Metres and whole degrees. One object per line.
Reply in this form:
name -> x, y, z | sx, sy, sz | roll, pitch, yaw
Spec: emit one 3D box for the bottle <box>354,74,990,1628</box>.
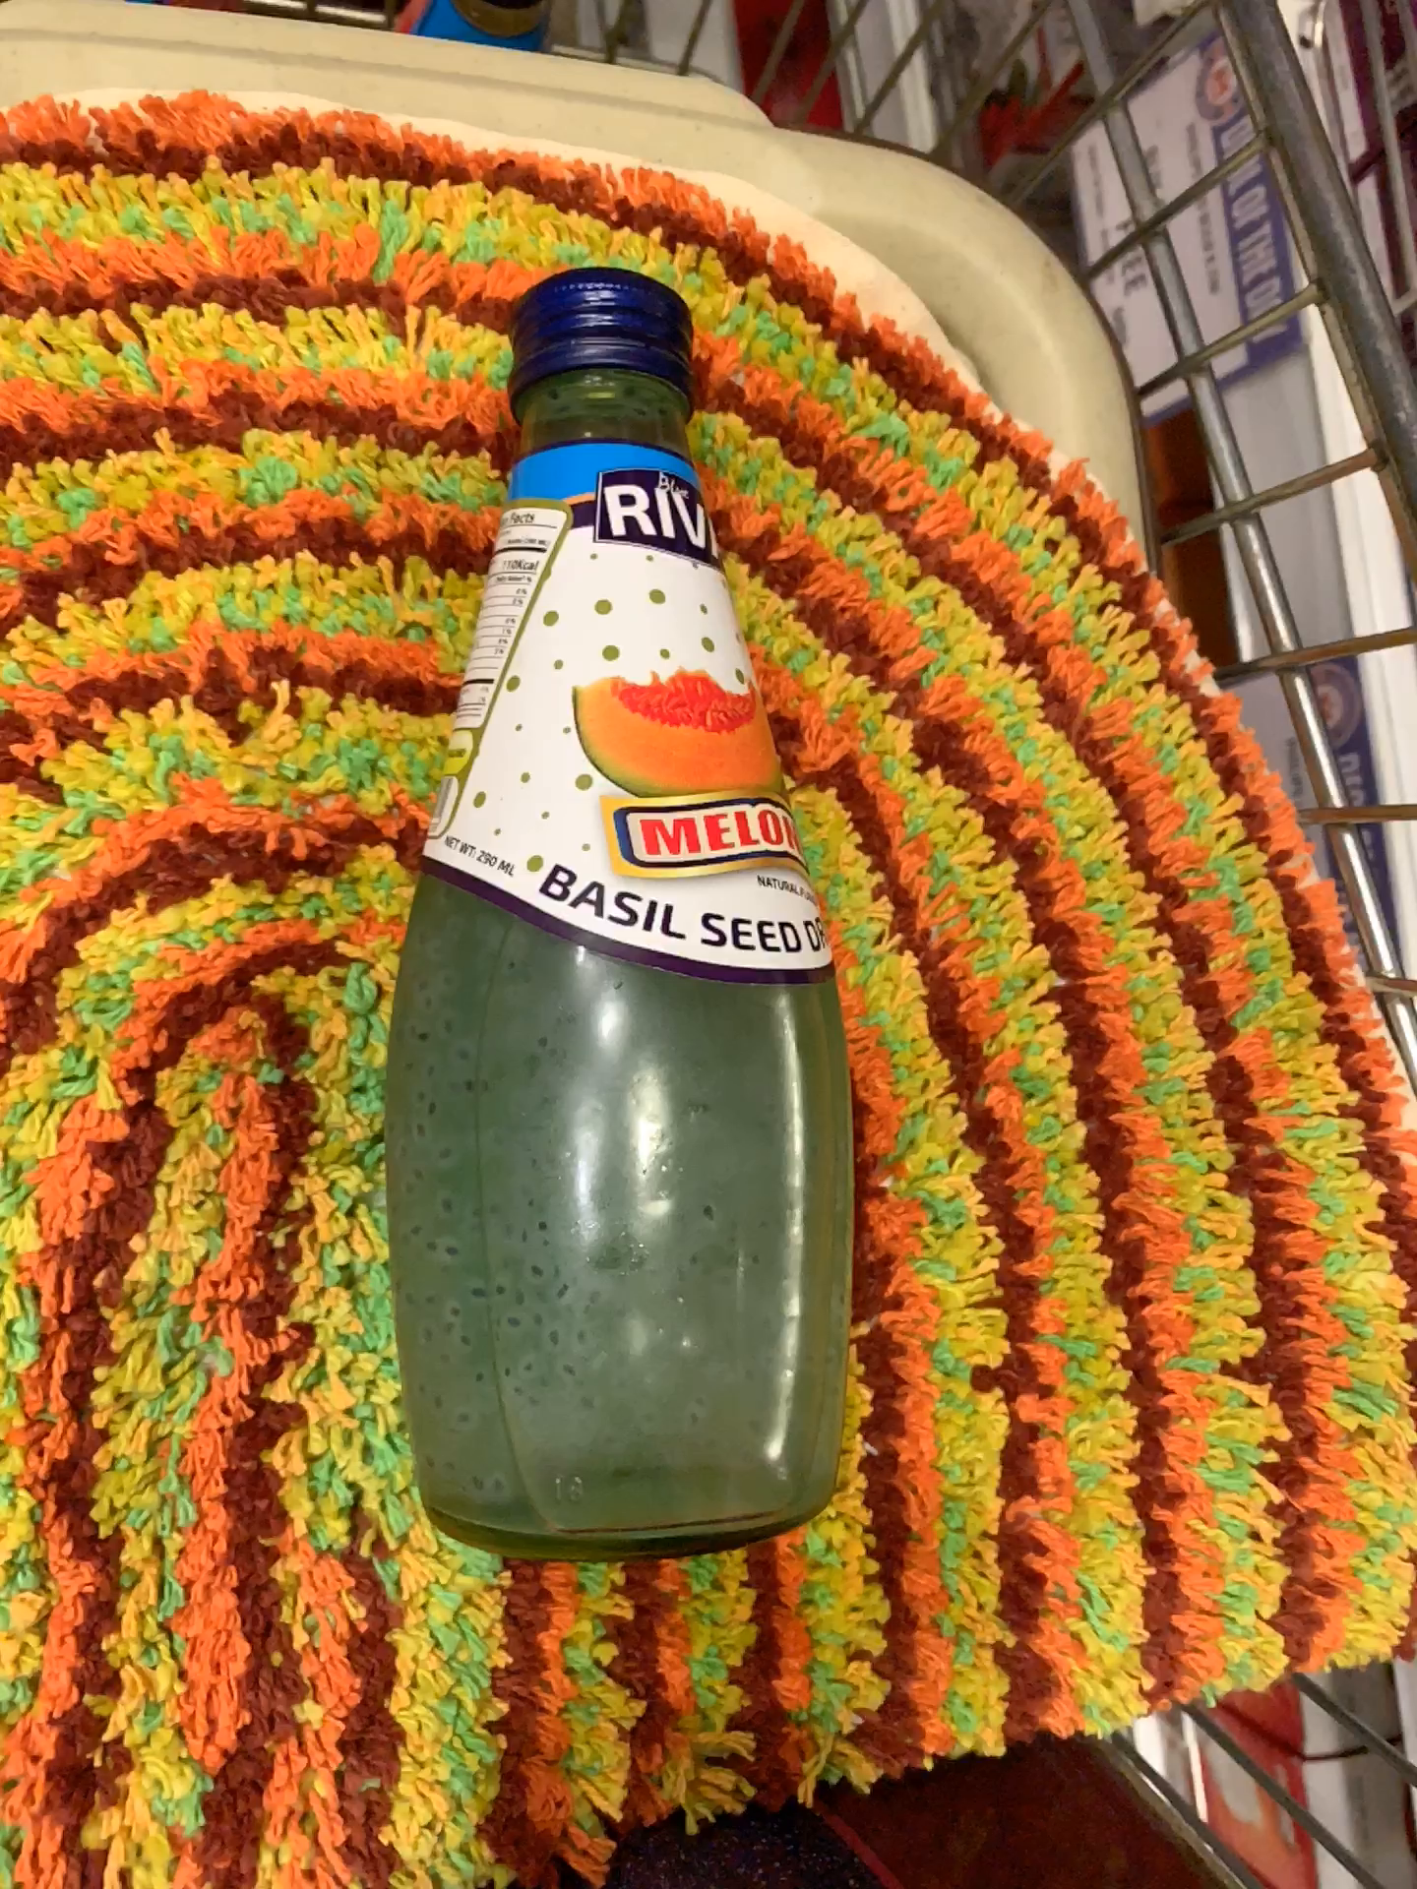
bottle -> -0.009, -0.012, 0.208 | 0.060, 0.060, 0.180 | 5, 78, -36
